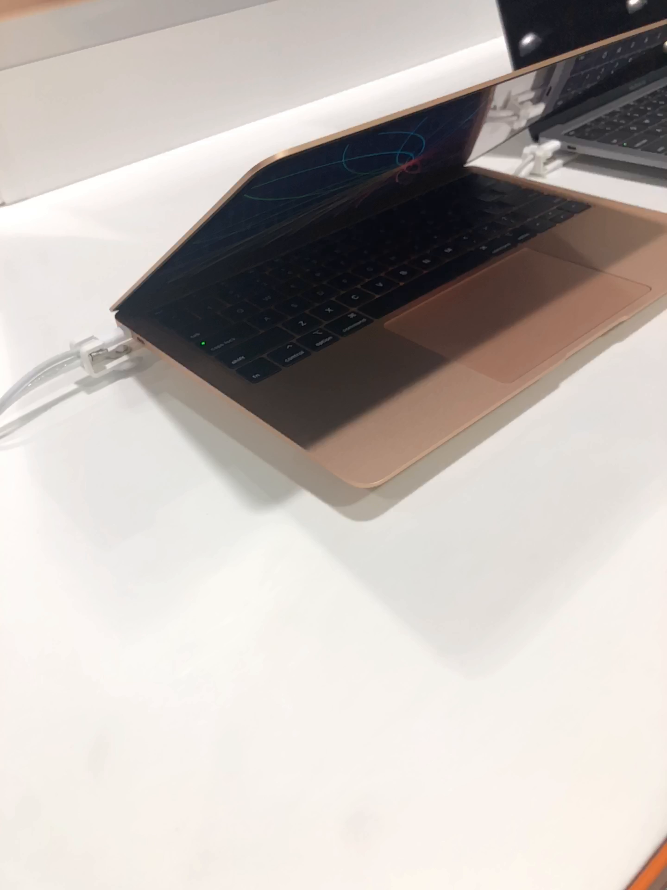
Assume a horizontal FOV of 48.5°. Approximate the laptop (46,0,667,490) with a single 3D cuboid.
[{"bbox_3d":[0.049,-0.137,0.382,0.296,0.106,0.200,-32,45,-28],"label":"laptop"}]
